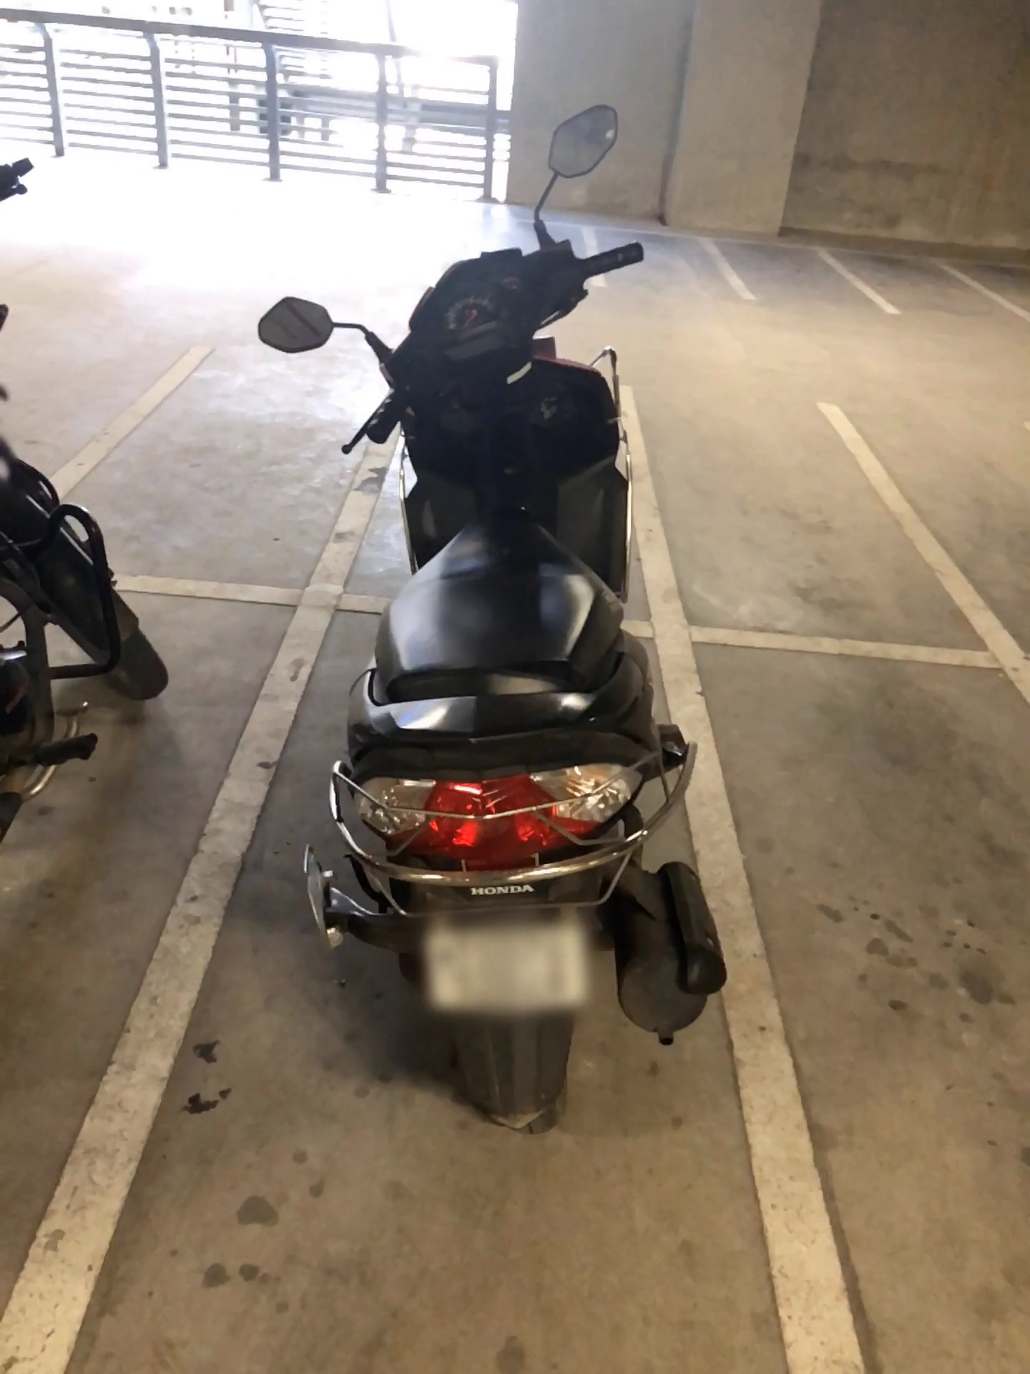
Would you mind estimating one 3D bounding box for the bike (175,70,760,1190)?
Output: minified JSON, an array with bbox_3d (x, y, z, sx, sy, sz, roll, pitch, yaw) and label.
[{"bbox_3d":[-0.121,-0.345,2.199,0.582,1.188,1.961,3,35,-4],"label":"bike"}]
